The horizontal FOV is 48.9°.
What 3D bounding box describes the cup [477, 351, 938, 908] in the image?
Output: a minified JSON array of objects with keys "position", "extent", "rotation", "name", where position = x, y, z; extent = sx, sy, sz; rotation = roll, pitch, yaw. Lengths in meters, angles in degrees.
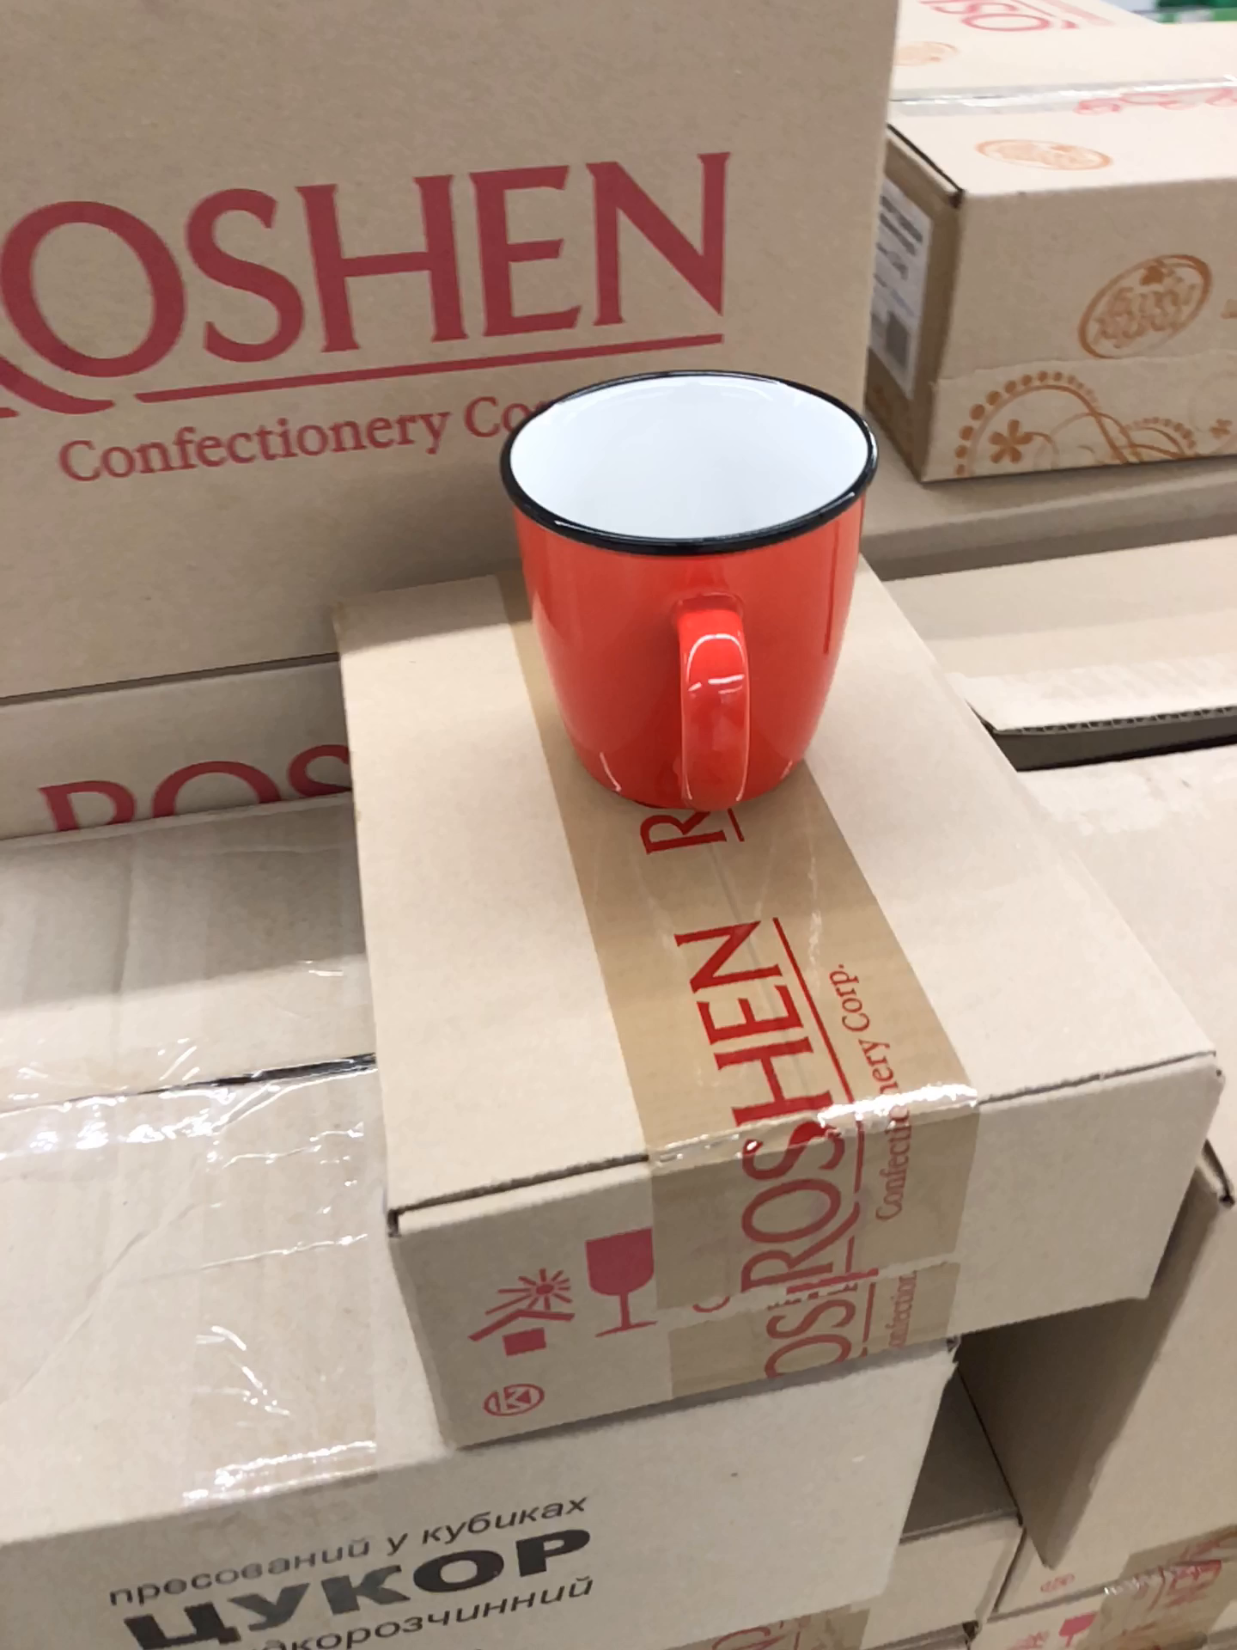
[{"position":[0.016,-0.058,0.371],"extent":[0.096,0.089,0.127],"rotation":[-5,40,-4],"name":"cup"}]
